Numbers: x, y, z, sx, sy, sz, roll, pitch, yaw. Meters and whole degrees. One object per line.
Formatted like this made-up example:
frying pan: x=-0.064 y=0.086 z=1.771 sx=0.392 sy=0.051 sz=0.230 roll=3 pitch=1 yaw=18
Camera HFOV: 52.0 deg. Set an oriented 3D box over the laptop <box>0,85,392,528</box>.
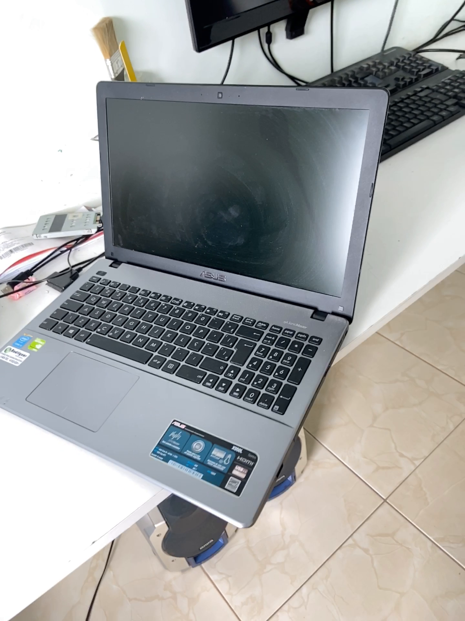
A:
laptop: x=-0.079 y=-0.060 z=0.506 sx=0.376 sy=0.213 sz=0.357 roll=15 pitch=48 yaw=27
